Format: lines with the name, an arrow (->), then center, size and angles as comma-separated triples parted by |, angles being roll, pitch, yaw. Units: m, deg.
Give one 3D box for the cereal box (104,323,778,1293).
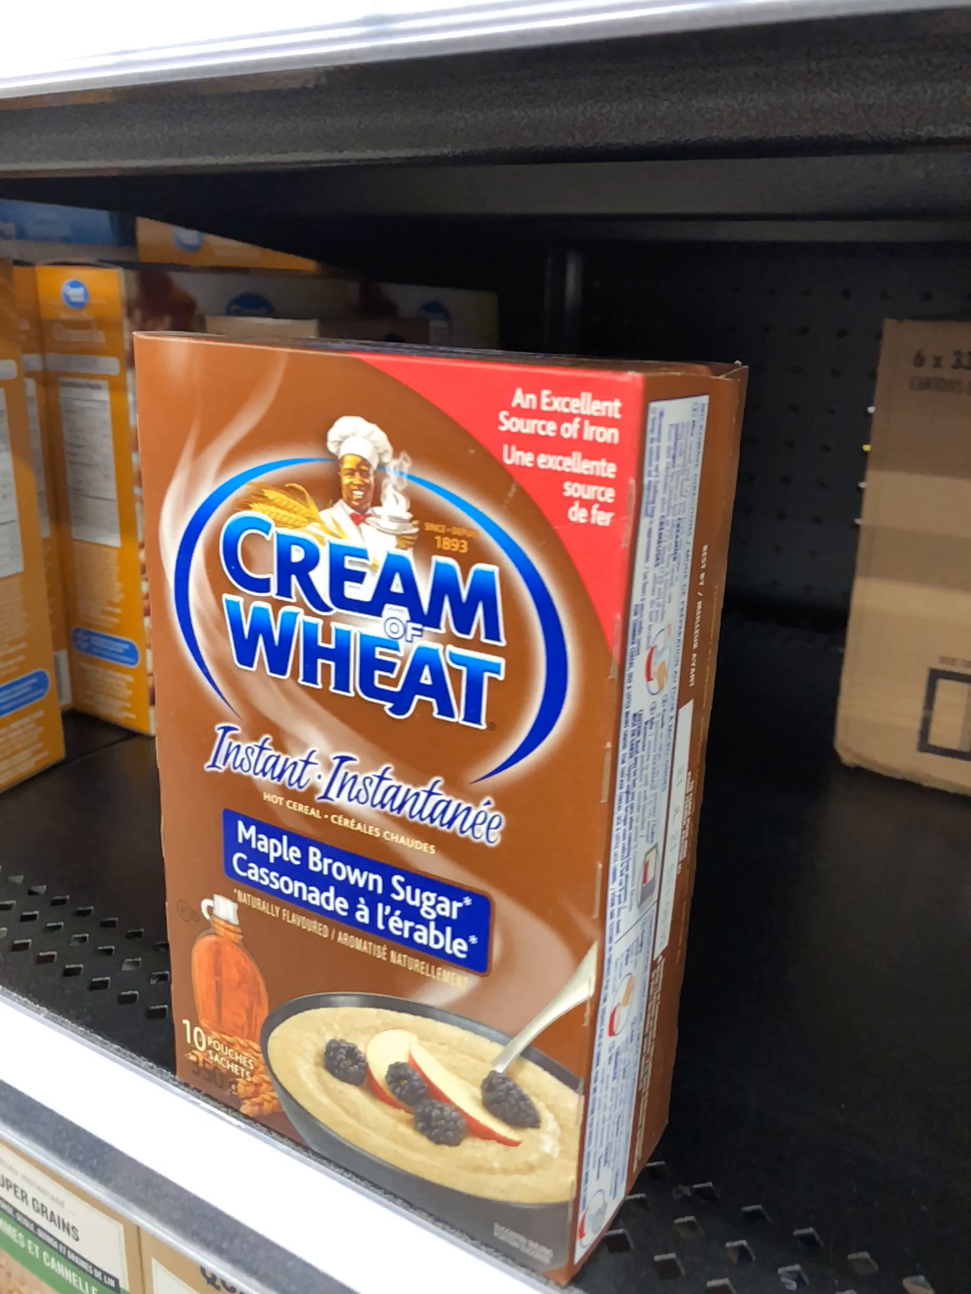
cereal box -> -0.014, 0.034, 0.259 | 0.130, 0.209, 0.060 | 12, 20, 29
